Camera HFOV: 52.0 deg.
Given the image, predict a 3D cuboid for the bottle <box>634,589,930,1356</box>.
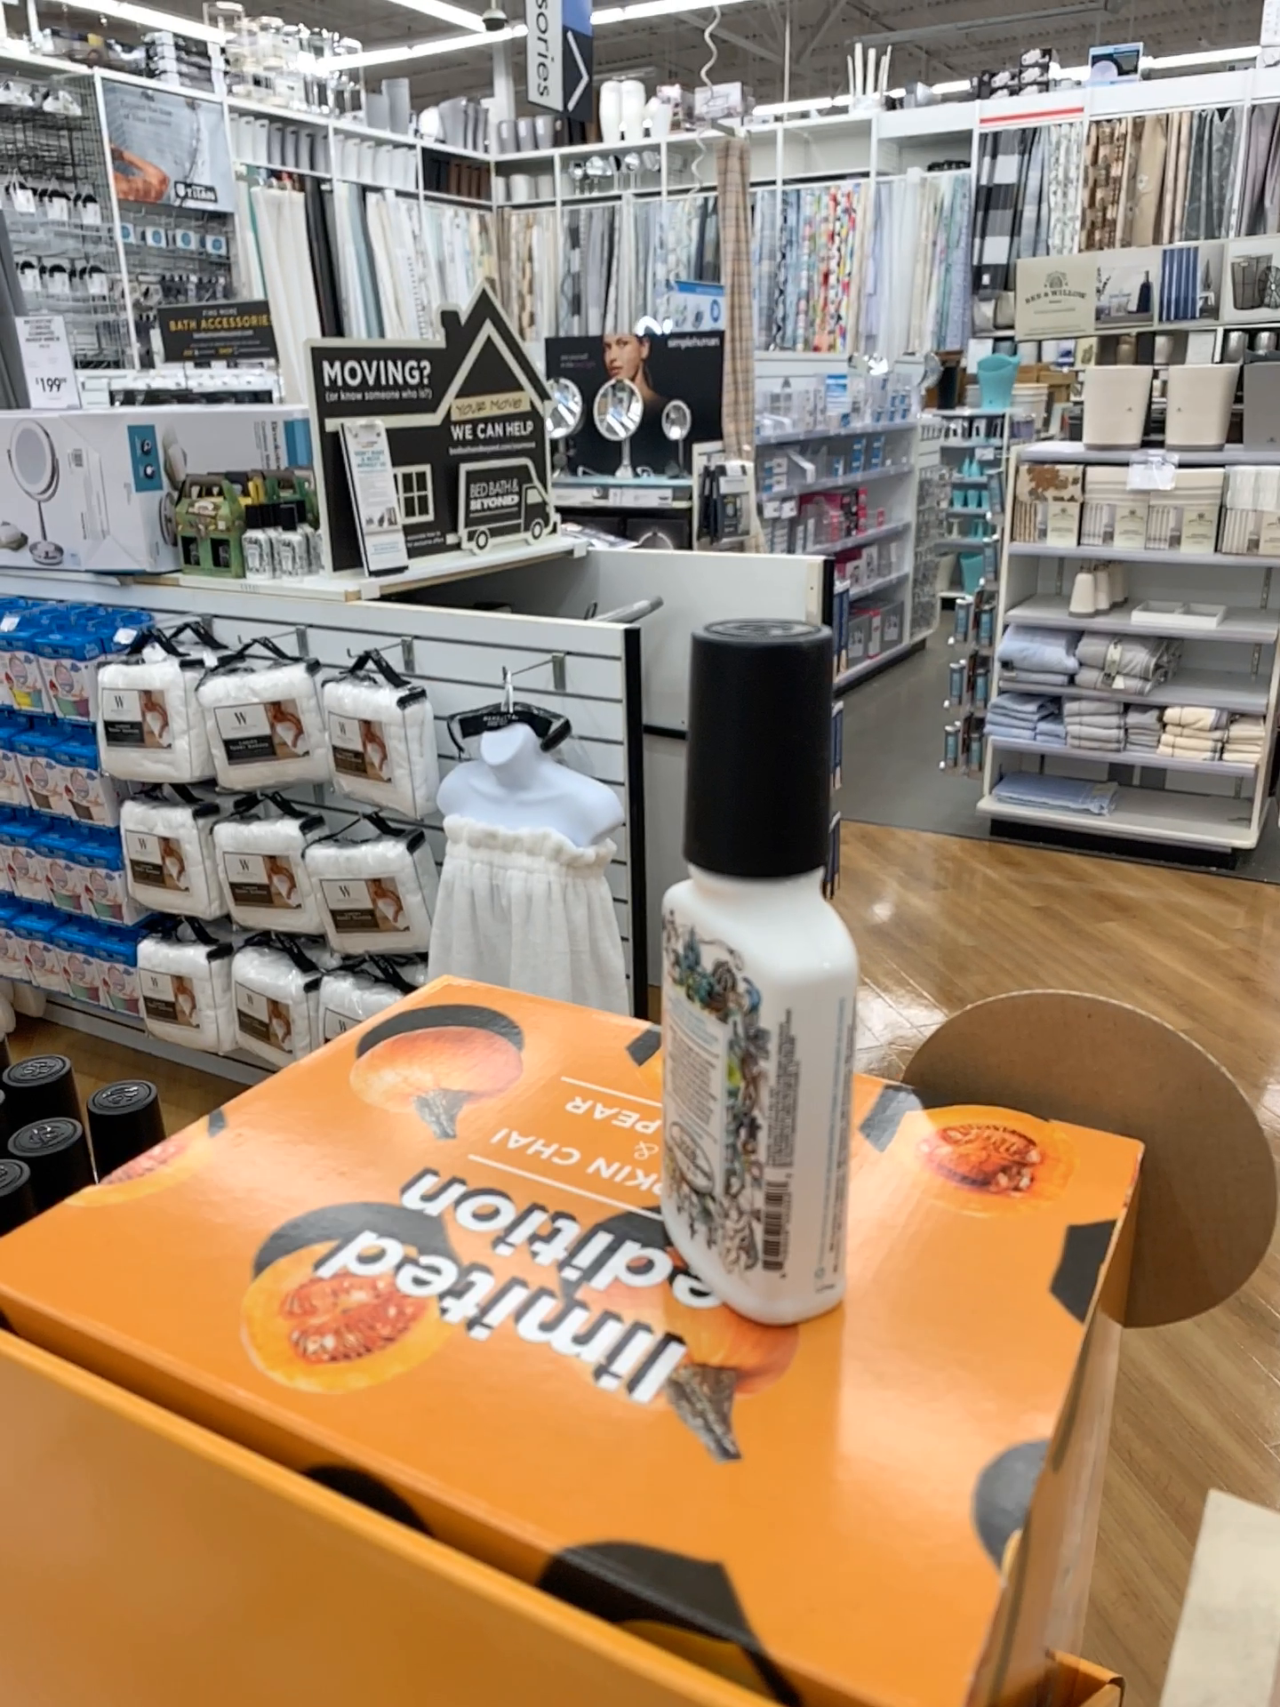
[{"bbox_3d":[0.028,0.024,0.283,0.033,0.151,0.055,-11,22,-25],"label":"bottle"}]
